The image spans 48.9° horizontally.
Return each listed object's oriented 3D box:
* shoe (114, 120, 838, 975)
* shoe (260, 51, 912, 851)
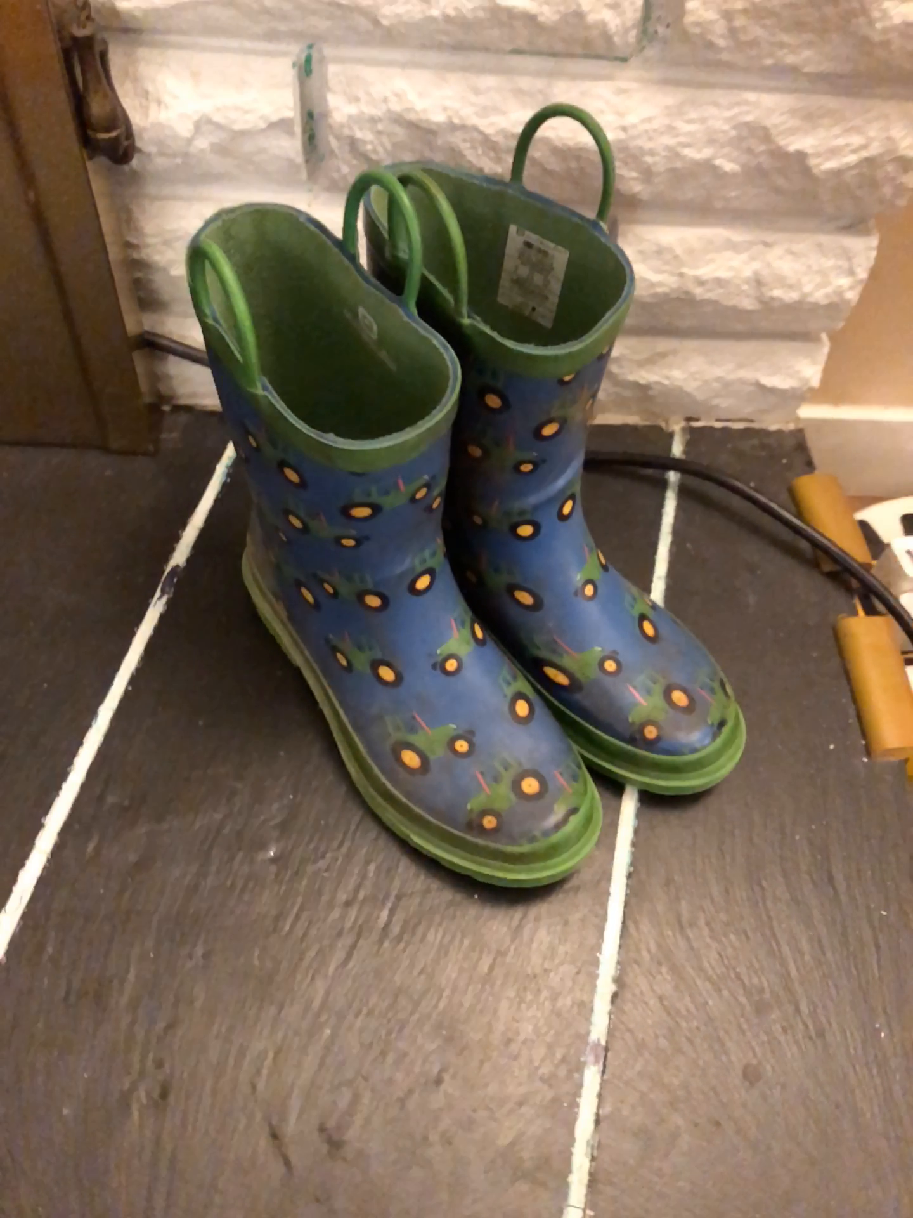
[{"bbox_3d":[-0.014,-0.010,0.402,0.100,0.239,0.231,-30,64,-22],"label":"shoe"},{"bbox_3d":[0.046,-0.053,0.424,0.241,0.229,0.100,39,61,19],"label":"shoe"}]
